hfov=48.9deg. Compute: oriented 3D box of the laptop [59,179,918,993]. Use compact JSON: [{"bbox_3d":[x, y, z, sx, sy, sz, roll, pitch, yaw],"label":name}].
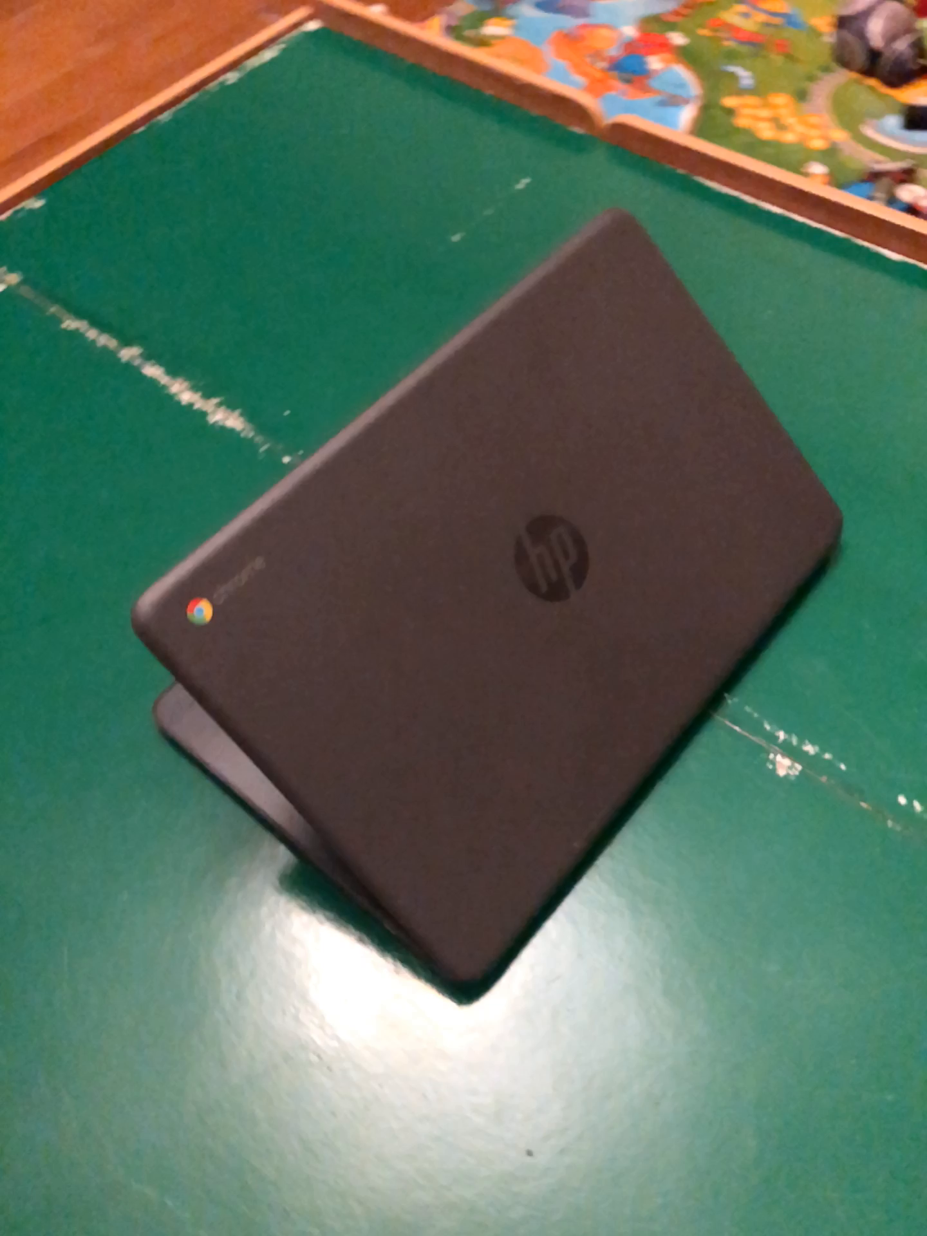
[{"bbox_3d":[0.022,-0.033,0.490,0.208,0.144,0.317,34,65,24],"label":"laptop"}]
